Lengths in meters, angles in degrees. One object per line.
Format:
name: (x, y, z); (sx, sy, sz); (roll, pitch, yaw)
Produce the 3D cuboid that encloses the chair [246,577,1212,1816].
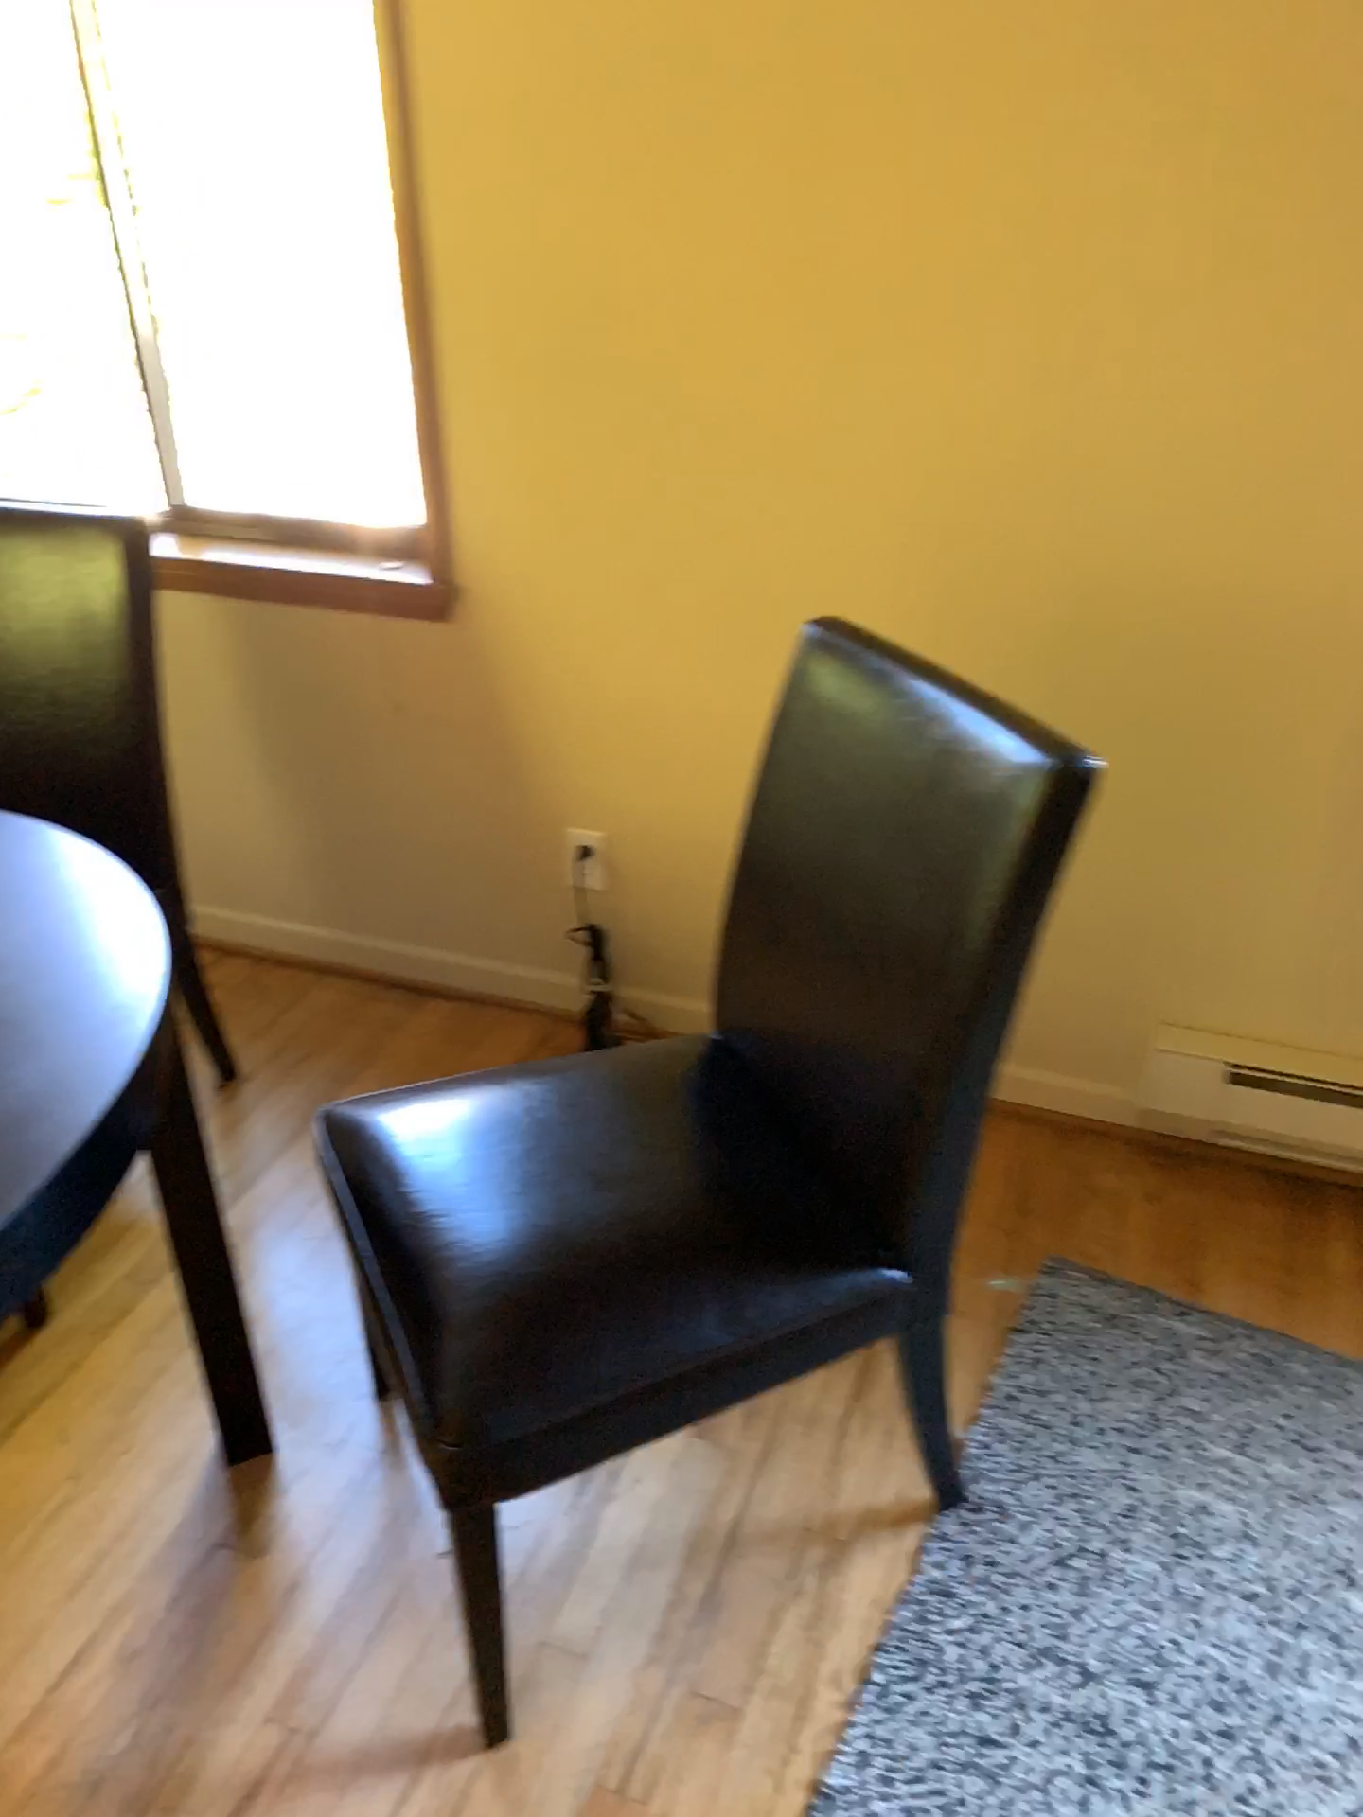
chair: (0.007, 0.301, 1.507); (0.650, 1.084, 0.623); (-14, 32, -22)
